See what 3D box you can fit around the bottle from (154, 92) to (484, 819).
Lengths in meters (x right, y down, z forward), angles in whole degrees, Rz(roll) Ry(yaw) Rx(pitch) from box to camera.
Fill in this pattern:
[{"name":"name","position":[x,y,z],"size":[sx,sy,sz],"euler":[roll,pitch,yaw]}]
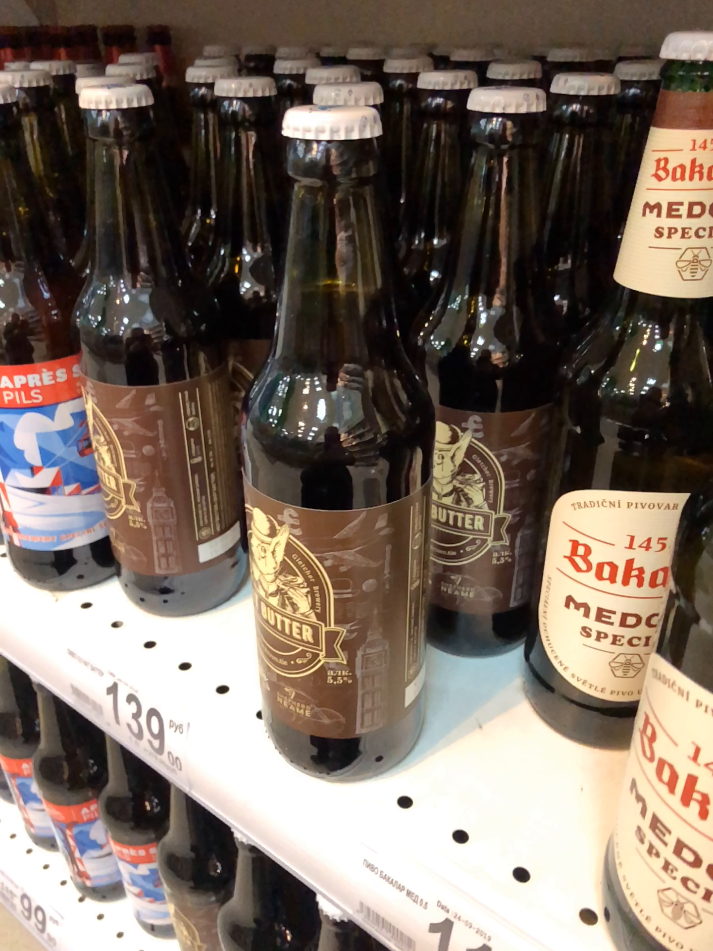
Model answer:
[{"name":"bottle","position":[-0.010,0.002,0.279],"size":[0.070,0.240,0.060],"euler":[25,38,38]}]
